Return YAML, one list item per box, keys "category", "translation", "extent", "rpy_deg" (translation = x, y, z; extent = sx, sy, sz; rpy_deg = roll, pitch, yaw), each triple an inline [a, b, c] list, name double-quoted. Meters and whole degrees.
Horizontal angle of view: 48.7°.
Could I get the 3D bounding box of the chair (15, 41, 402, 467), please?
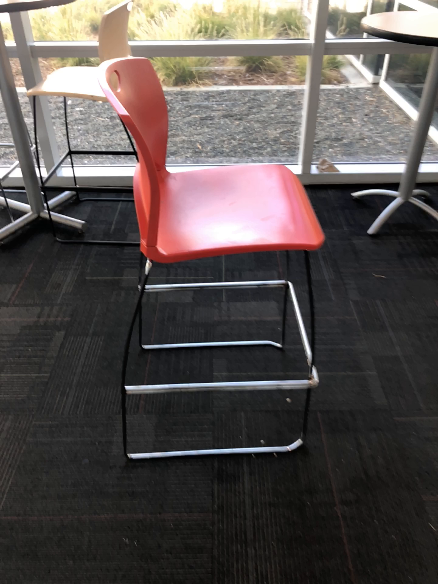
- category: "chair"
  translation: [-0.026, -0.089, 1.357]
  extent: [0.660, 0.995, 0.593]
  rpy_deg: [-3, 36, -3]
